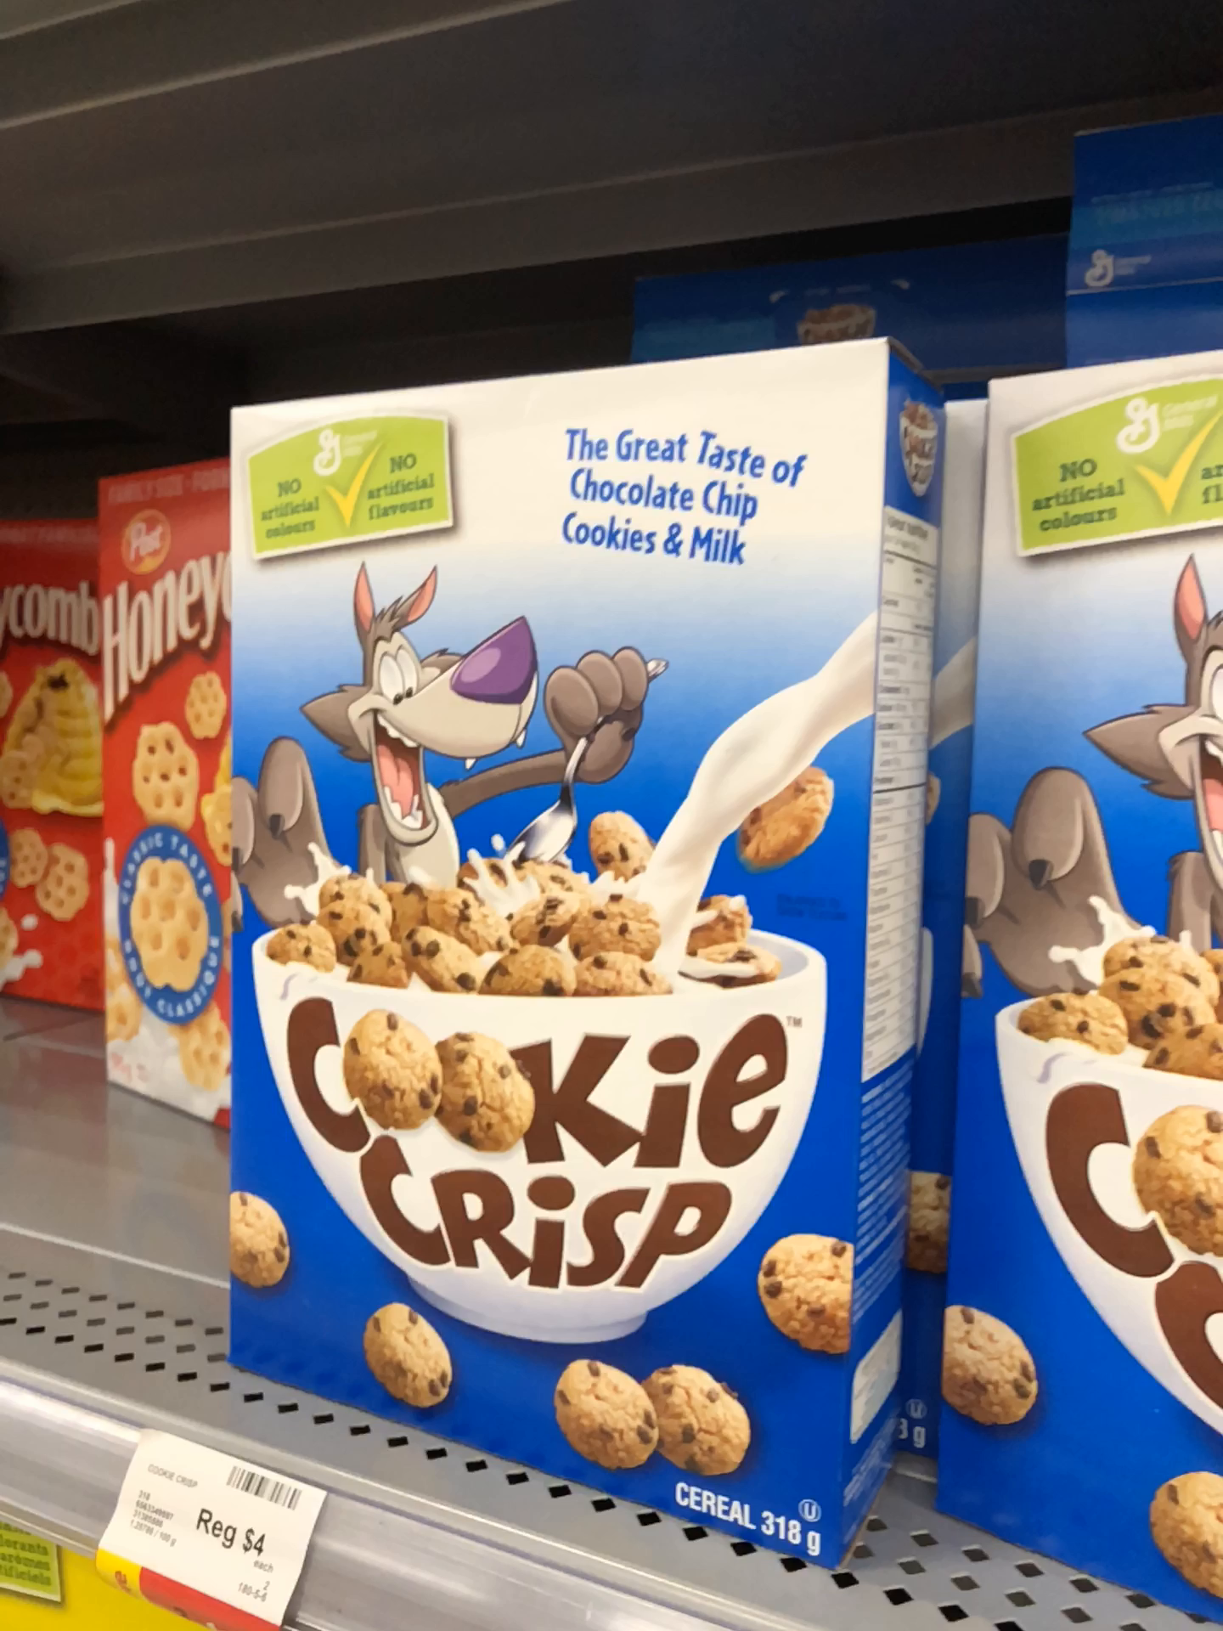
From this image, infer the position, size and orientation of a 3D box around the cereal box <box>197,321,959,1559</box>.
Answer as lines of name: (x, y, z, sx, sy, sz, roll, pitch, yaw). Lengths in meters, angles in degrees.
cereal box: (-0.017, 0.025, 0.368, 0.200, 0.280, 0.050, 3, 5, 26)
